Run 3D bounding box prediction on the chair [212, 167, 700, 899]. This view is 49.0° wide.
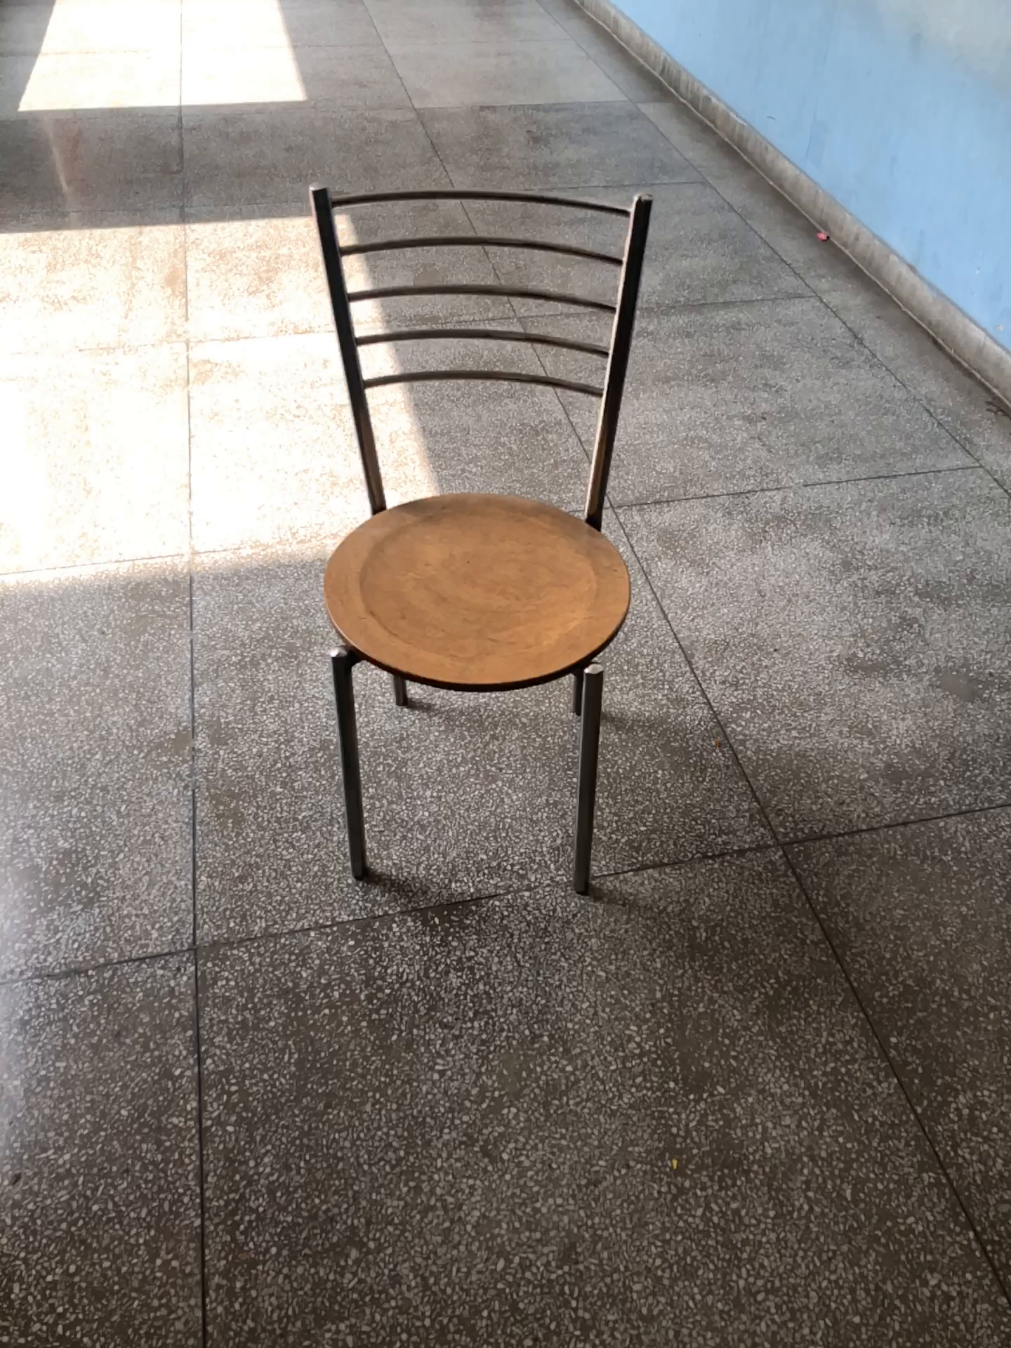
[{"bbox_3d":[-0.047,-0.139,1.369,0.420,0.777,0.422,3,42,0],"label":"chair"}]
